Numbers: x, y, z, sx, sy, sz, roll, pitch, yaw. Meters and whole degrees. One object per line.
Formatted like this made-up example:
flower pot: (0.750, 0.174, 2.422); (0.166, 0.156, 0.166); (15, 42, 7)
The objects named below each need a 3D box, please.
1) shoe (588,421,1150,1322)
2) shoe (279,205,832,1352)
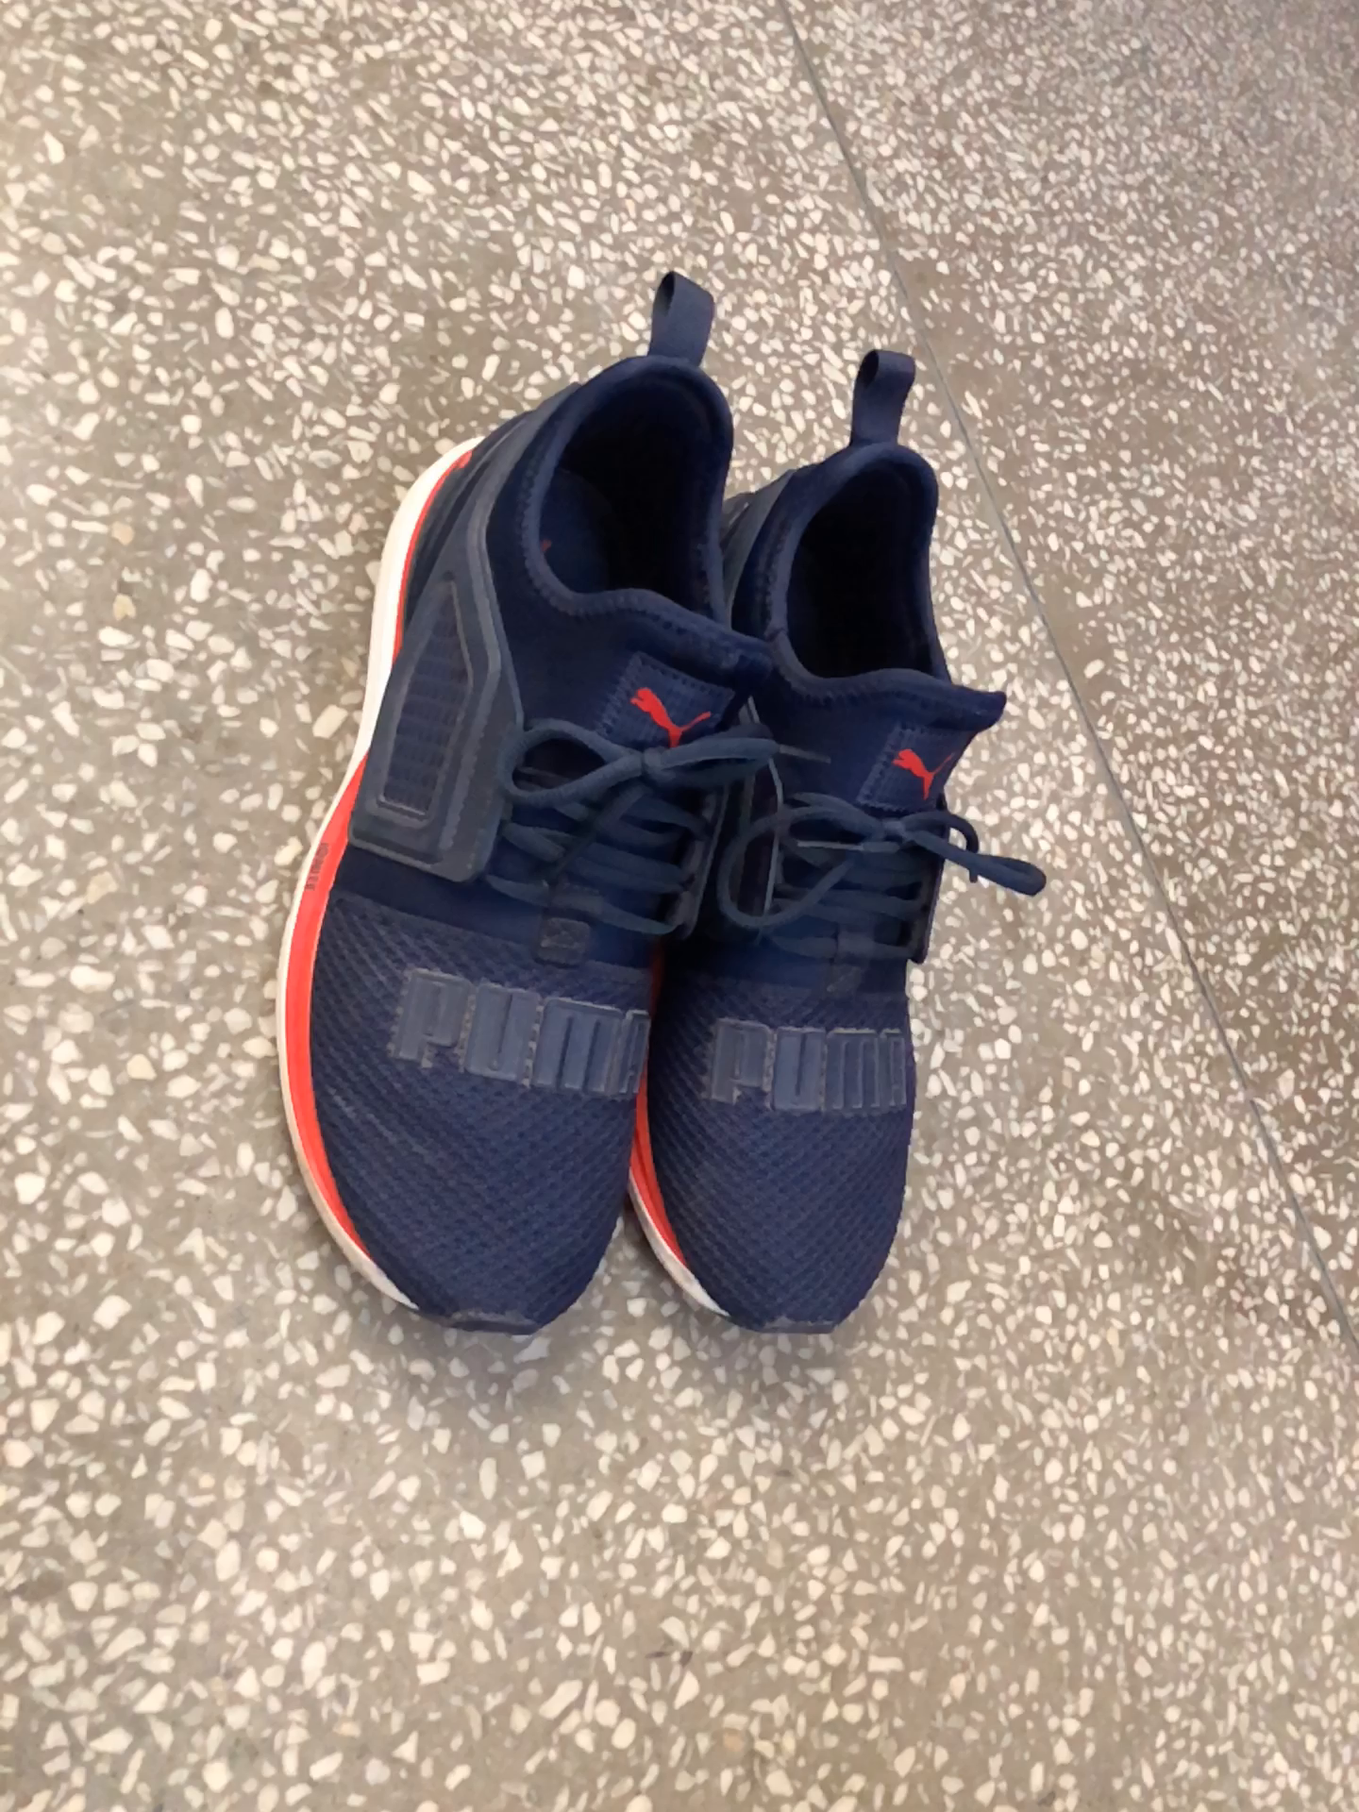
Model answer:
shoe: (0.044, 0.000, 0.444); (0.100, 0.120, 0.230); (5, 72, -24)
shoe: (-0.039, -0.025, 0.400); (0.100, 0.100, 0.270); (7, 72, -29)
